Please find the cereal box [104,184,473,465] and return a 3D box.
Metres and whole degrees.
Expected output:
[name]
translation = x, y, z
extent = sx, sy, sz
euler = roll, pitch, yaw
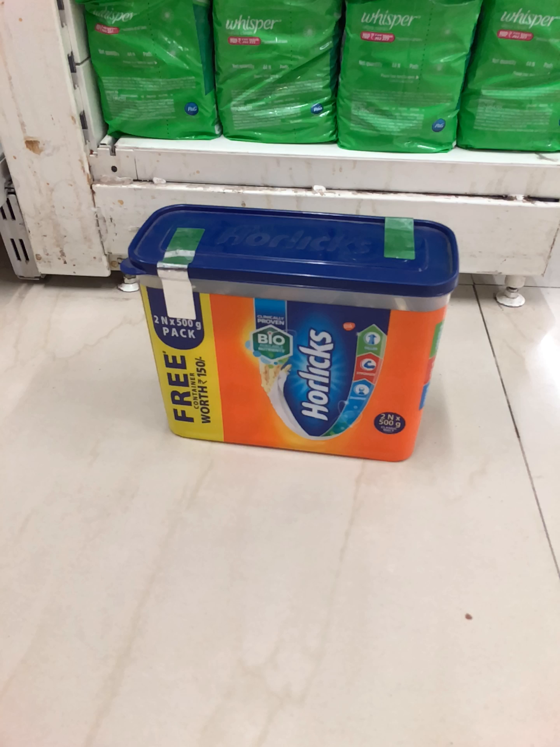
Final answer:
[cereal box]
translation = 0.009, -0.036, 0.451
extent = 0.220, 0.159, 0.101
euler = 5, 40, 7
